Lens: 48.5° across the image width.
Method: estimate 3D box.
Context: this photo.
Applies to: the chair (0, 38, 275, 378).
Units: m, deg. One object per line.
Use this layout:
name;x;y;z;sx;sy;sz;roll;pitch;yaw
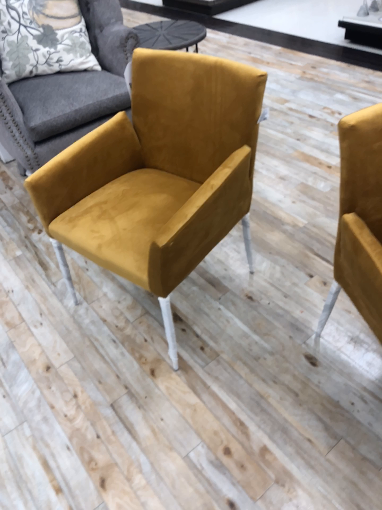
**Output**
chair;-0.128;-0.160;1.367;0.561;0.797;0.541;25;51;31
